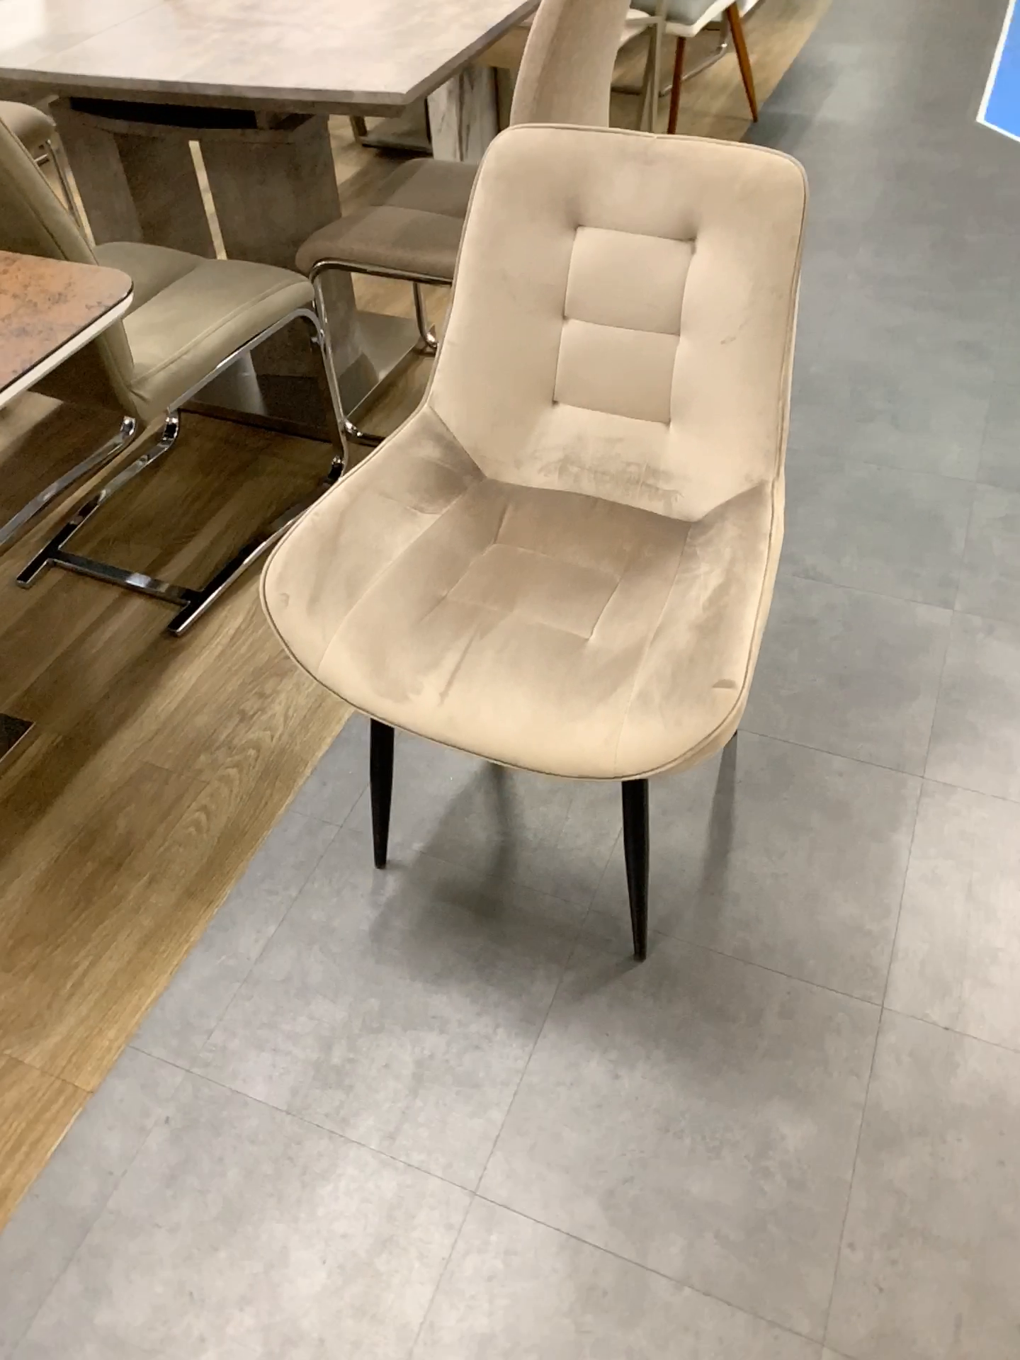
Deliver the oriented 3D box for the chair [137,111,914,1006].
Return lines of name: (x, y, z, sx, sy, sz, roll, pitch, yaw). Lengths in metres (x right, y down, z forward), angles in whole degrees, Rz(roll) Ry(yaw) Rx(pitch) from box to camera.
chair: (0.073, -0.151, 1.319, 0.567, 0.817, 0.613, 16, 49, 19)
